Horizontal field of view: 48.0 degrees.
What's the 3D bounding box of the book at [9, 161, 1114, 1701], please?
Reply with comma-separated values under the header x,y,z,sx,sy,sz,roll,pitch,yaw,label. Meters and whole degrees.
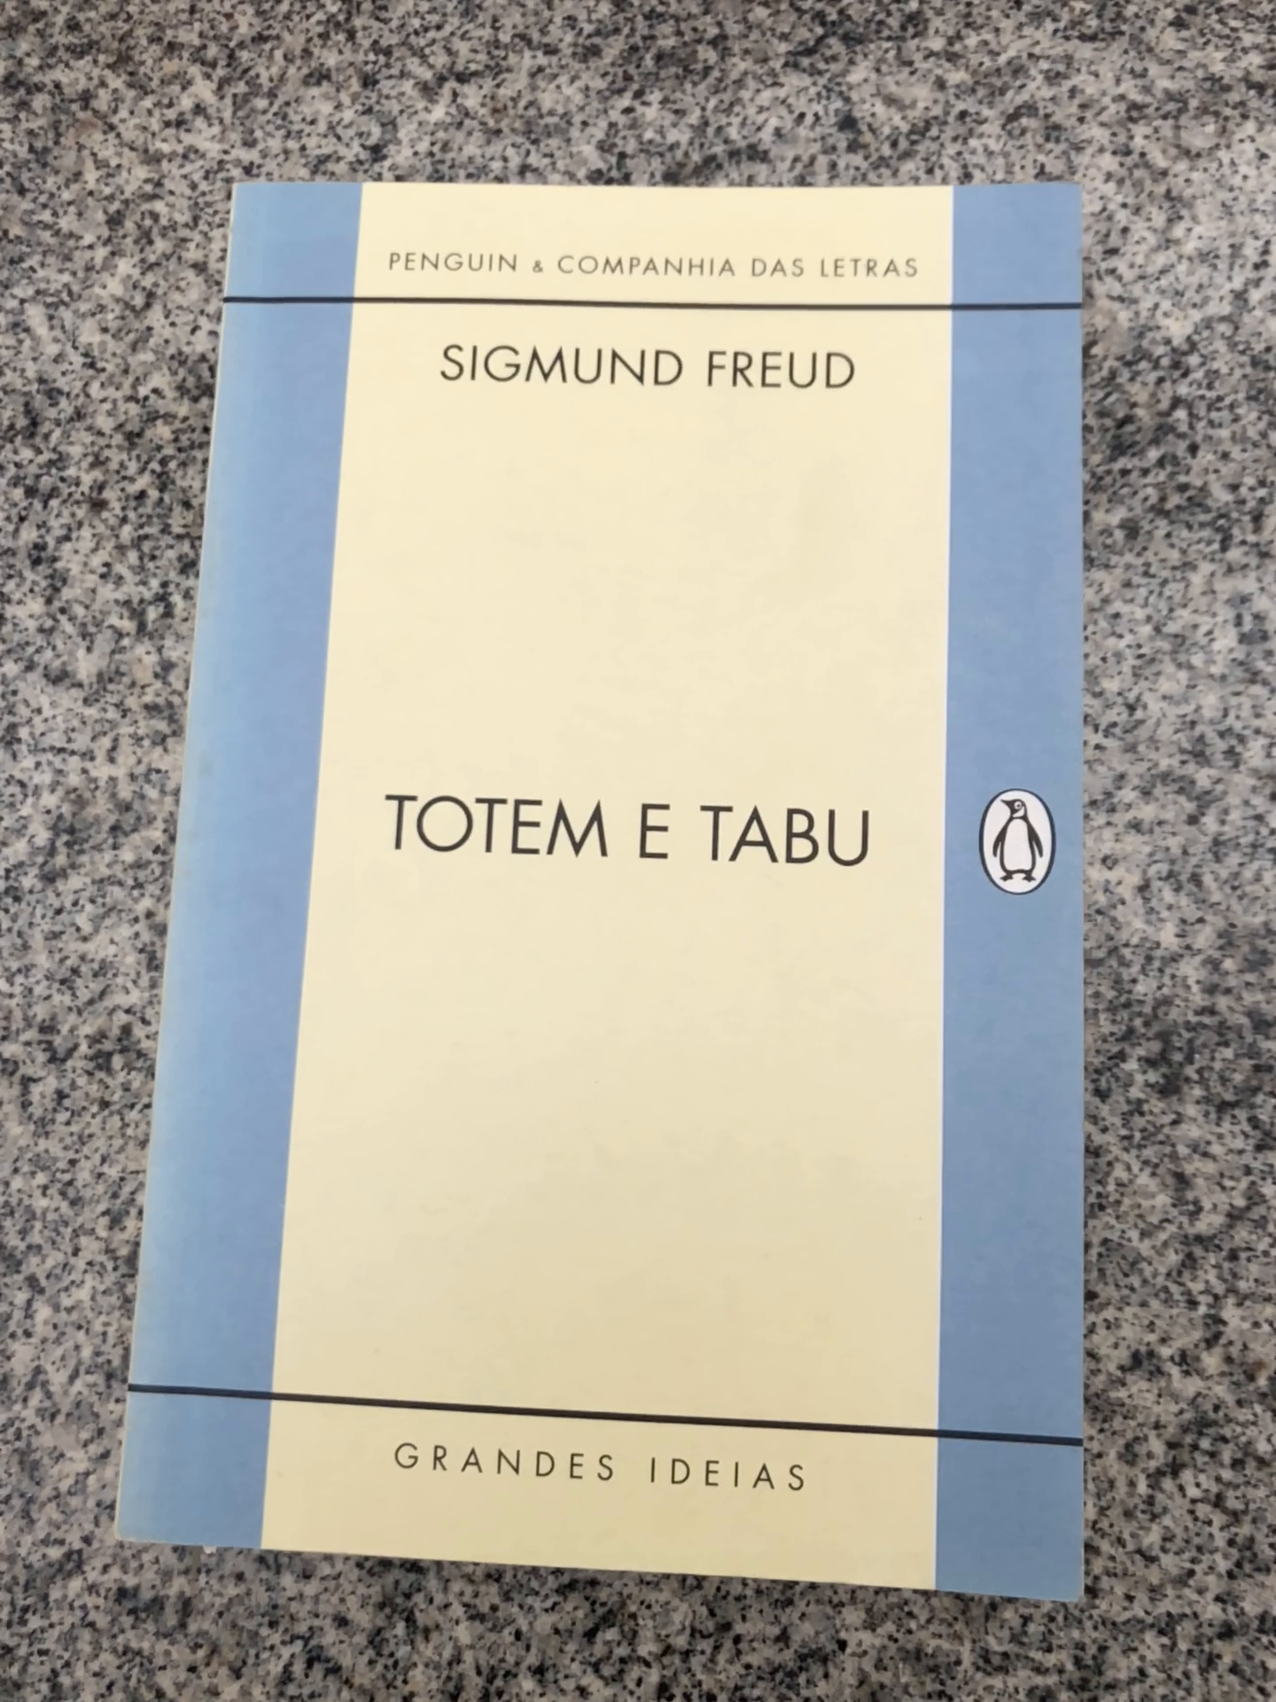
x,y,z,sx,sy,sz,roll,pitch,yaw,label
-0.005,0.001,0.190,0.130,0.015,0.191,2,81,4,book
